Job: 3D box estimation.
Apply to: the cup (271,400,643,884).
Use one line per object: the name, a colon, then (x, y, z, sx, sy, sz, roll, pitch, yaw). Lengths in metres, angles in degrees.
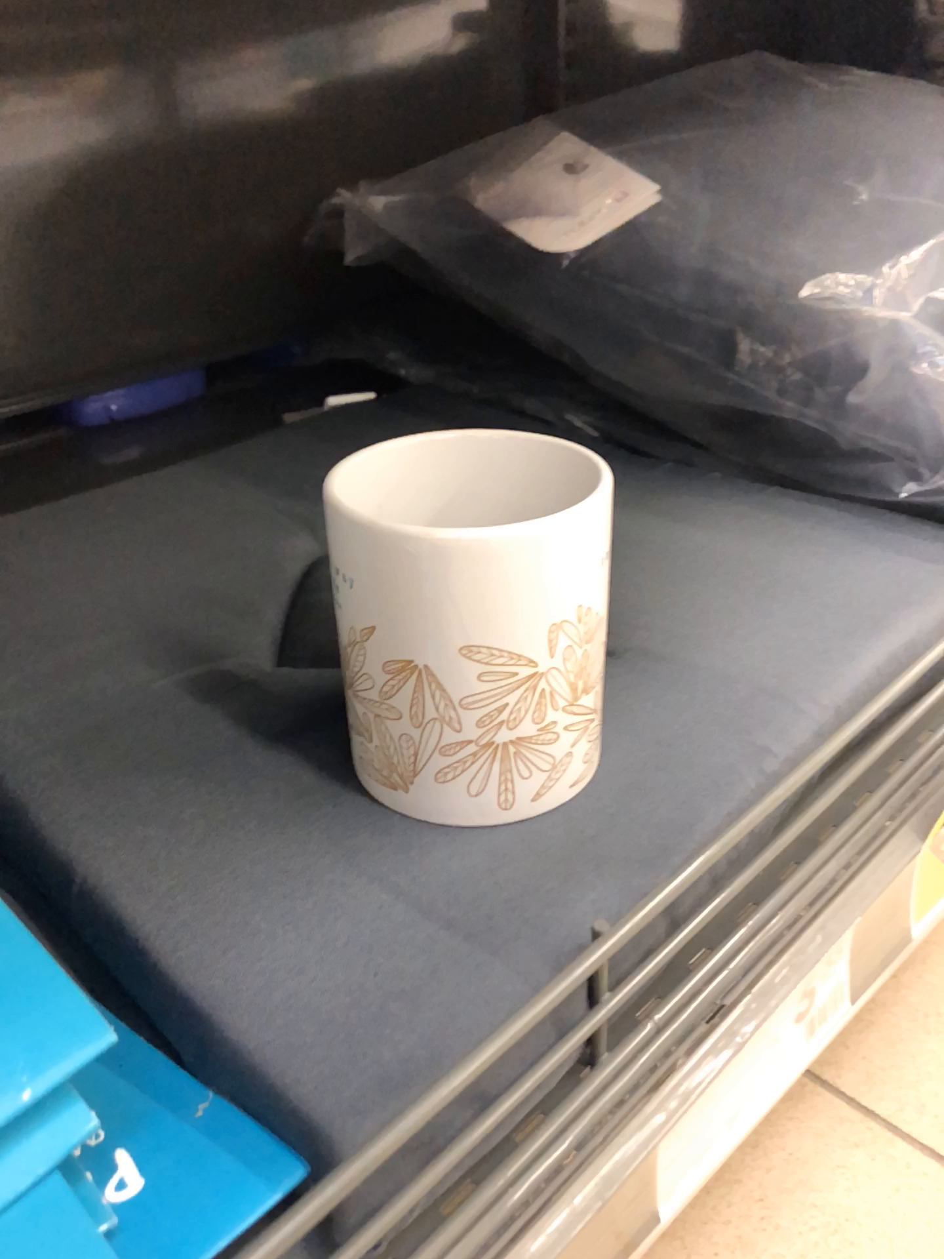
cup: (-0.006, -0.003, 0.329, 0.090, 0.099, 0.121, -4, 29, -2)
